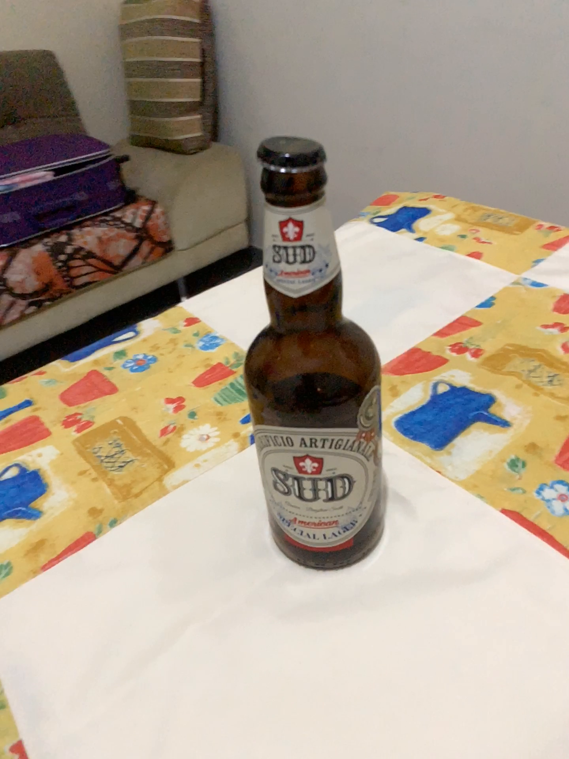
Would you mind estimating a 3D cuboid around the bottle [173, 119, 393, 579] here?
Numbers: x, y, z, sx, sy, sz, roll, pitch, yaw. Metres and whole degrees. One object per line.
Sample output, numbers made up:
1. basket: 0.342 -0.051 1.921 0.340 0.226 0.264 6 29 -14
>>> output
1. bottle: 0.015 0.001 0.307 0.080 0.239 0.070 0 37 9
